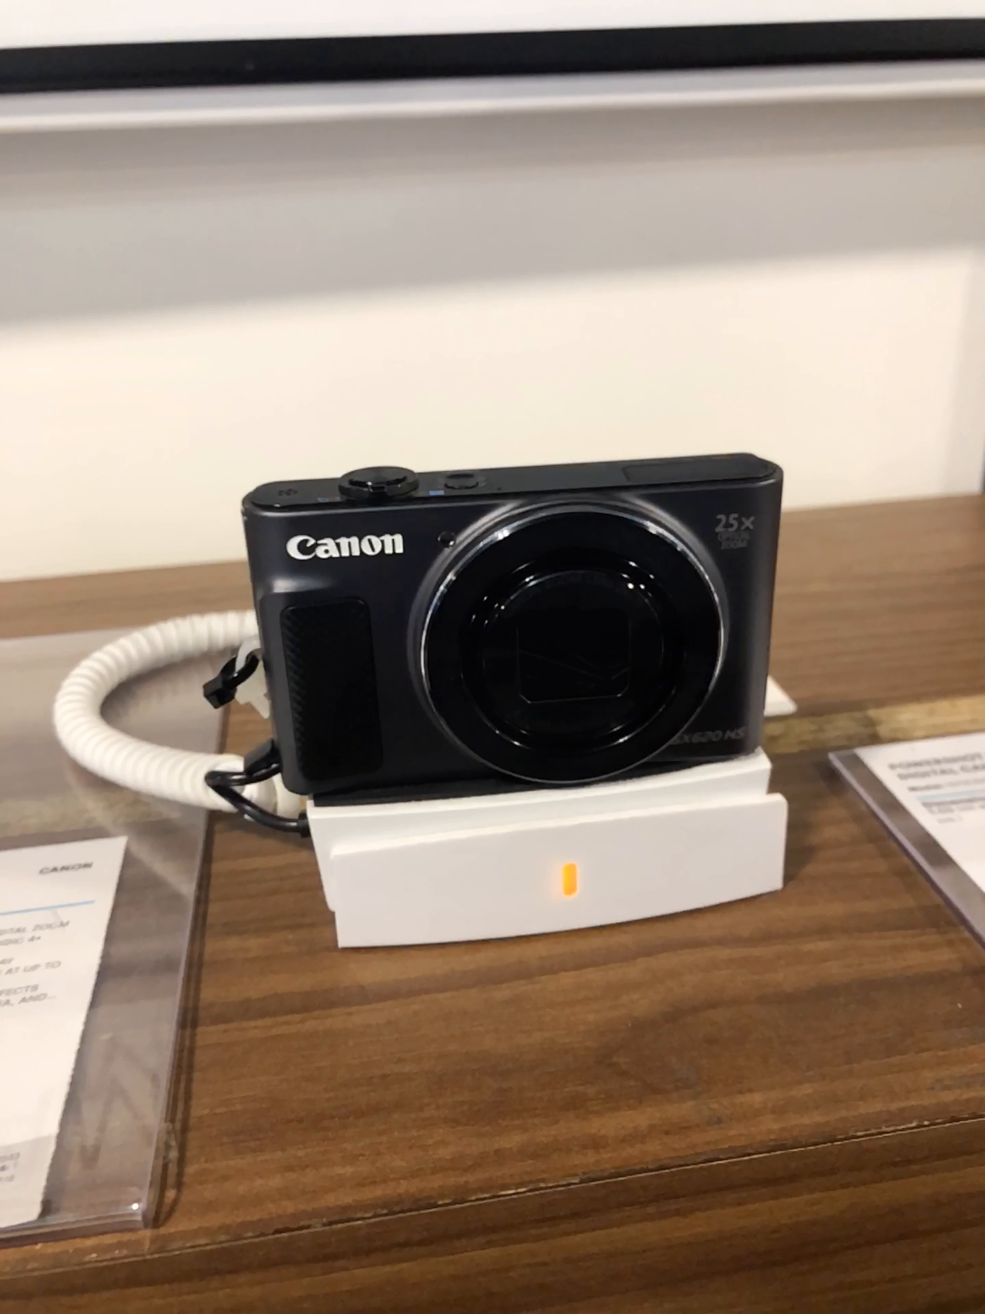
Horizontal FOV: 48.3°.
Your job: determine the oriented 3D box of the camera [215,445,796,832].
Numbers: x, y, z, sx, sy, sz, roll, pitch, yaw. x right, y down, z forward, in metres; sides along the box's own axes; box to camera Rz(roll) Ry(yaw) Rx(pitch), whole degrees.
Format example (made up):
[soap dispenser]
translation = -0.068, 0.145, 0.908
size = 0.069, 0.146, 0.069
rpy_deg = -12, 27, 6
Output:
[camera]
translation = 0.003, -0.005, 0.213
size = 0.100, 0.060, 0.030
rpy_deg = -5, 23, -5
